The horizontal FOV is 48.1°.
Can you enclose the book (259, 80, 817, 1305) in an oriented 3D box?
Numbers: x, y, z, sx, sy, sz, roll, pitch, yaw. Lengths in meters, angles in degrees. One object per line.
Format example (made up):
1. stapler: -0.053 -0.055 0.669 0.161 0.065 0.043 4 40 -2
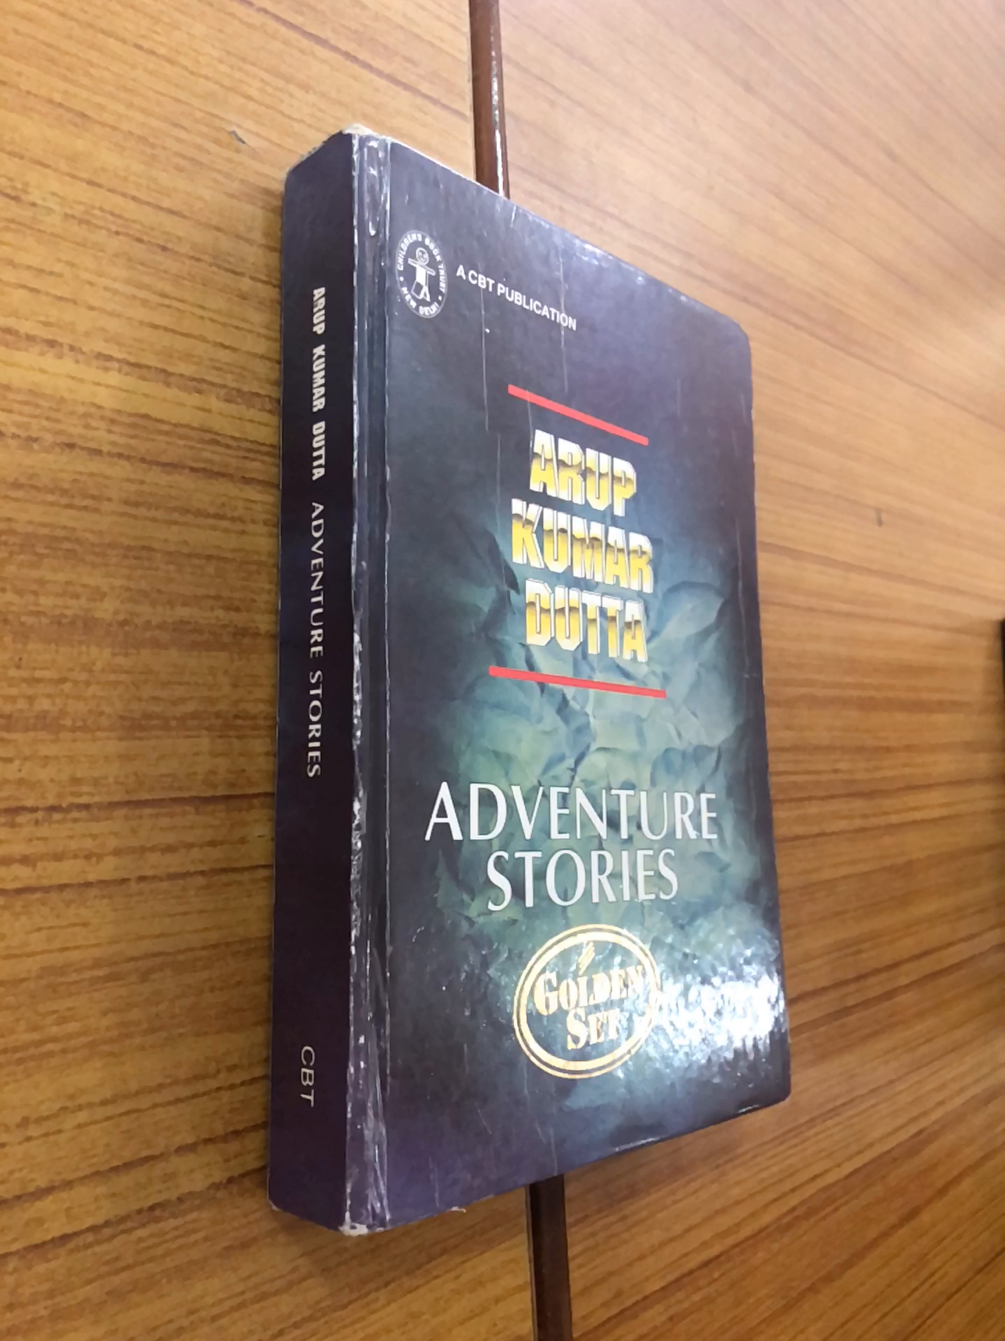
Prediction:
1. book: 0.017 0.005 0.264 0.146 0.036 0.218 6 81 -45
